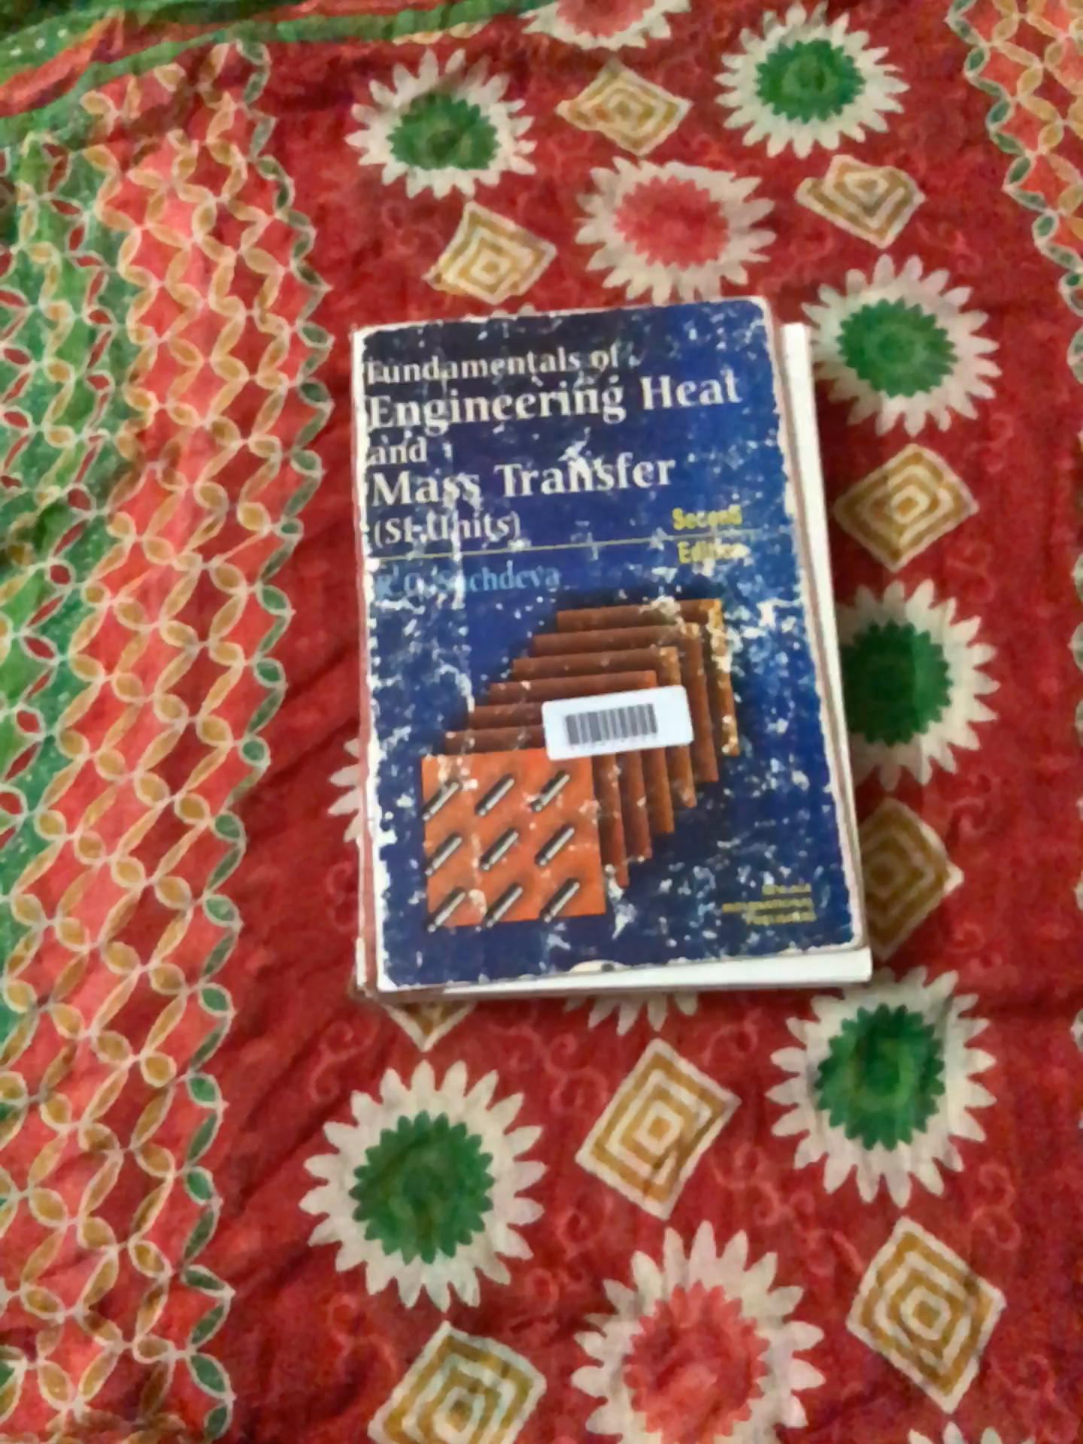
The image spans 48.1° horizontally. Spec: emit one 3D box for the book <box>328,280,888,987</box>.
[{"bbox_3d":[0.014,-0.029,0.384,0.150,0.043,0.209,-5,75,2],"label":"book"}]
